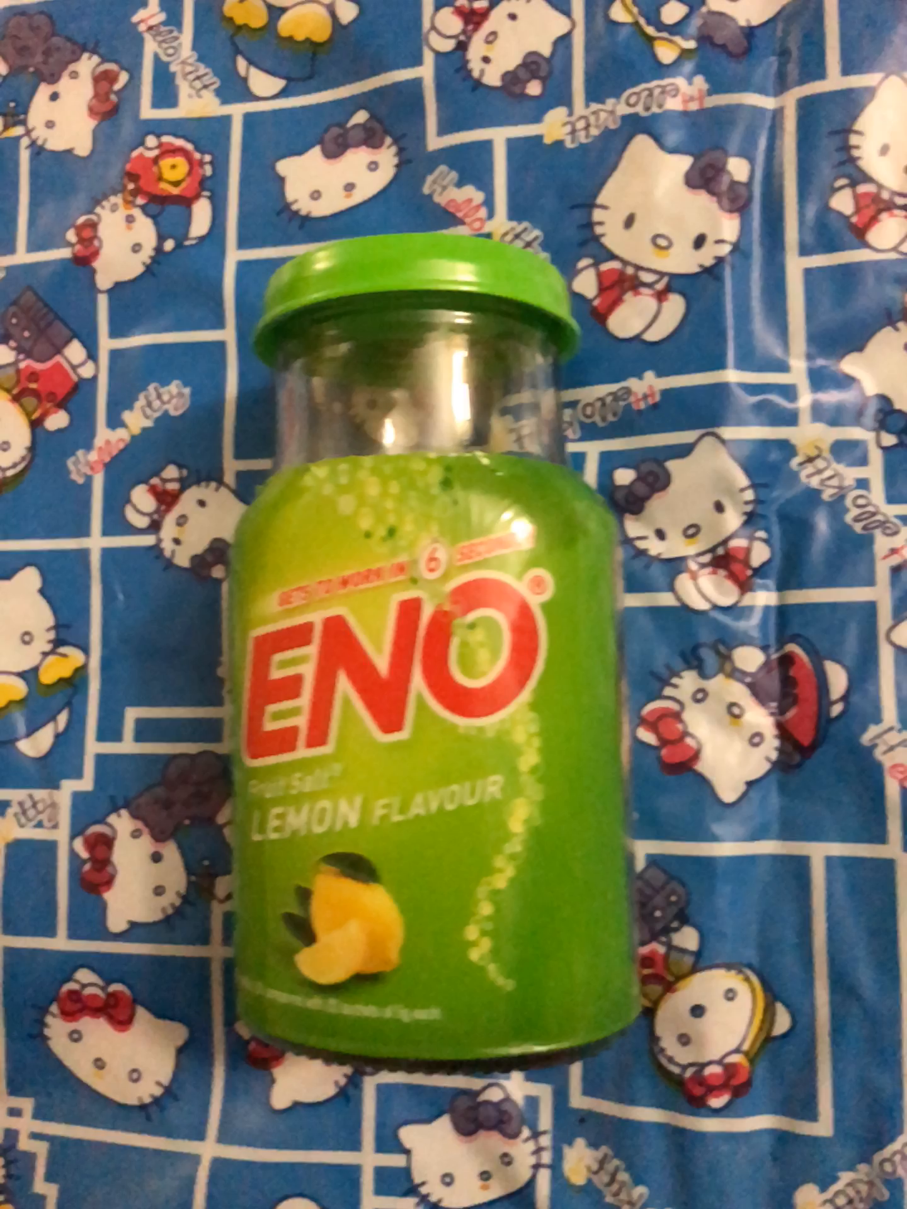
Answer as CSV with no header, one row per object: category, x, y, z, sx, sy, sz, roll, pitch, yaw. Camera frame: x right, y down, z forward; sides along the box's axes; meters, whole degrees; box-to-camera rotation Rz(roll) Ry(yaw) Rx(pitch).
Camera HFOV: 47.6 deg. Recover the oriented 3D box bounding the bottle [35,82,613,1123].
bottle,-0.013,0.001,0.140,0.060,0.050,0.110,-3,89,14
